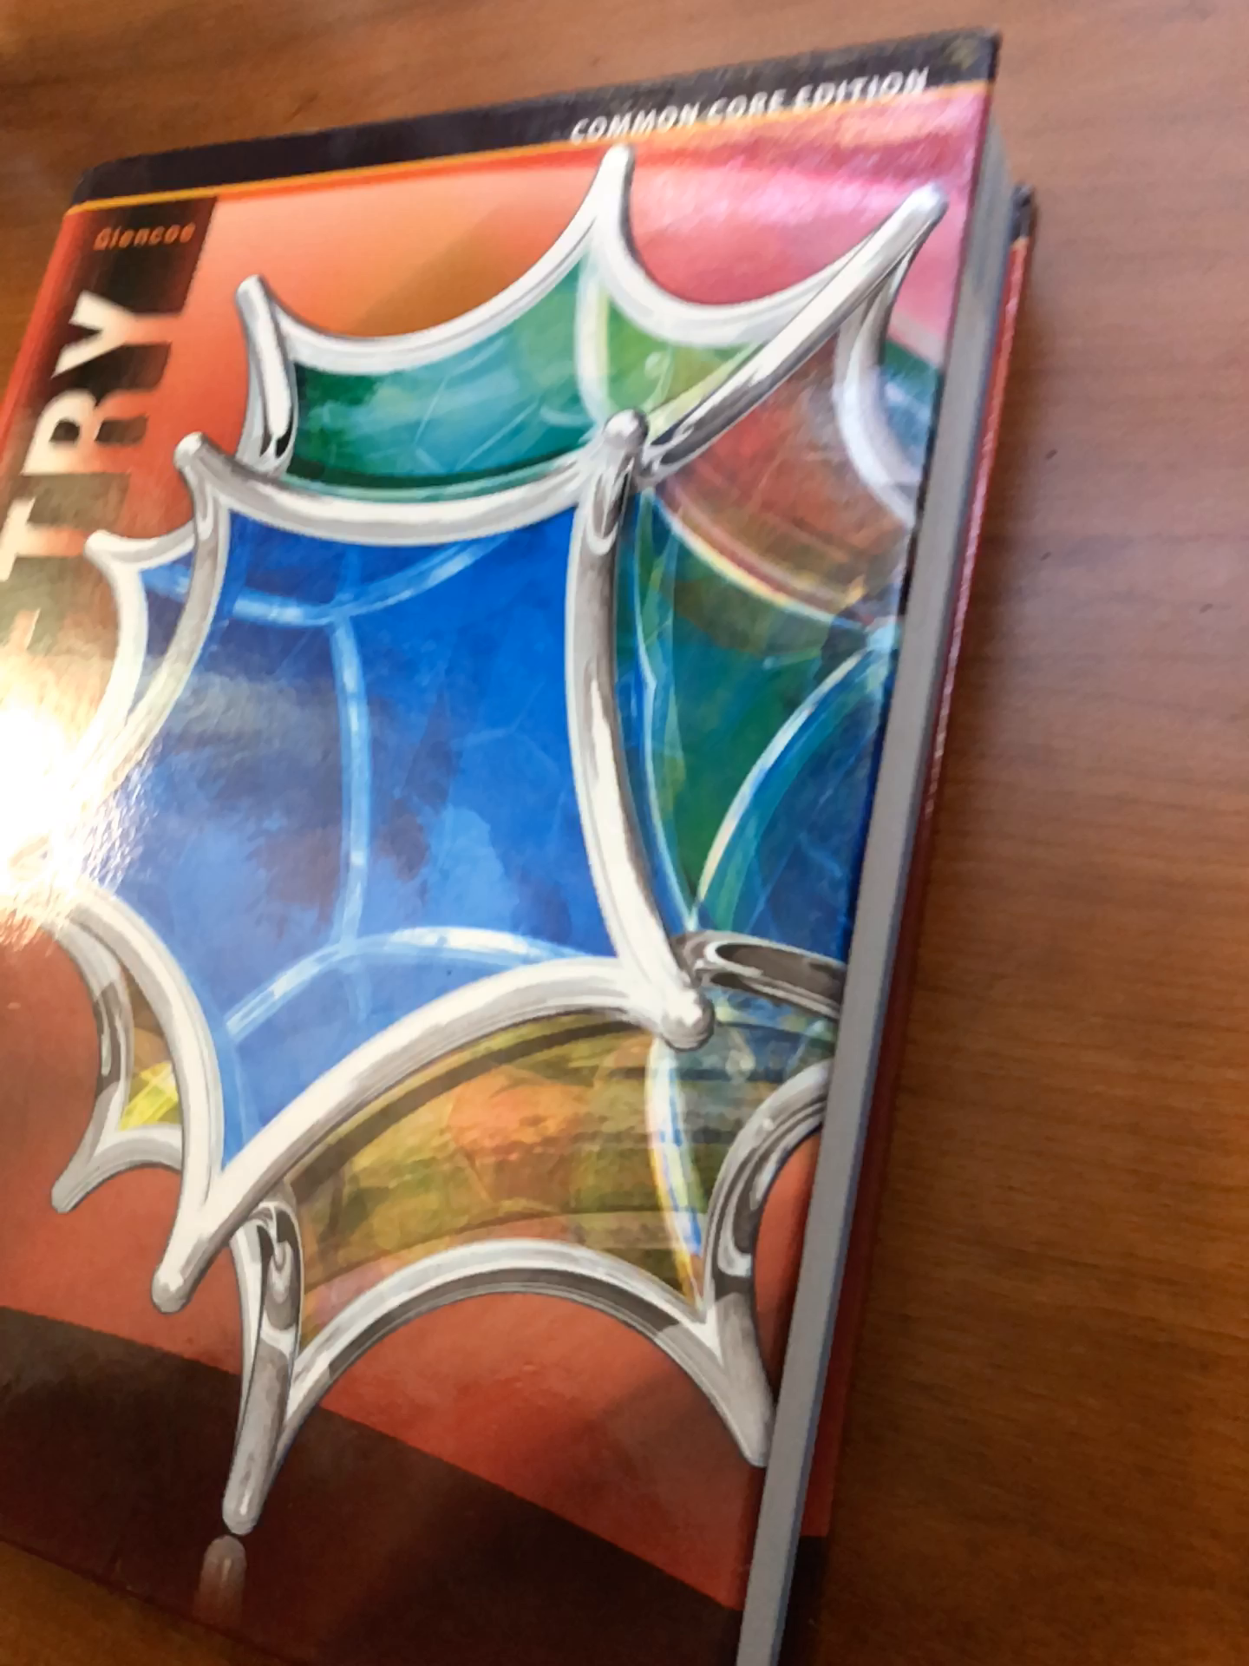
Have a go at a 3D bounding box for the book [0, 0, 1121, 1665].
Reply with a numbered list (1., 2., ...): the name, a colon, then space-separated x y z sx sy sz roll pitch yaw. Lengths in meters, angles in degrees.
1. book: -0.045 -0.005 0.270 0.229 0.050 0.310 6 75 25
